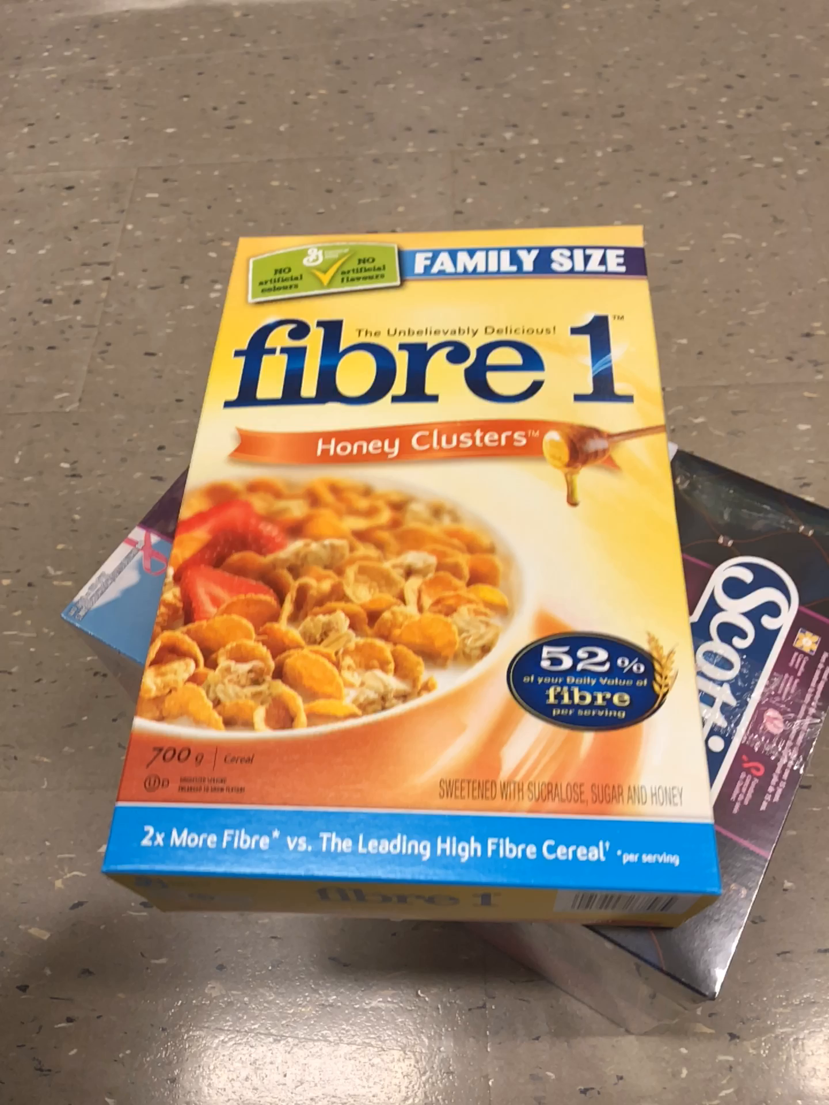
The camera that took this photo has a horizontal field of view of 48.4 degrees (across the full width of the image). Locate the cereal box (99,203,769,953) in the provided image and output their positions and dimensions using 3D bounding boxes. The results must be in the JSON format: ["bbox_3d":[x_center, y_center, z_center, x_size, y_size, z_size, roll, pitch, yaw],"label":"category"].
[{"bbox_3d":[0.013,-0.012,0.395,0.200,0.080,0.321,0,57,4],"label":"cereal box"}]
